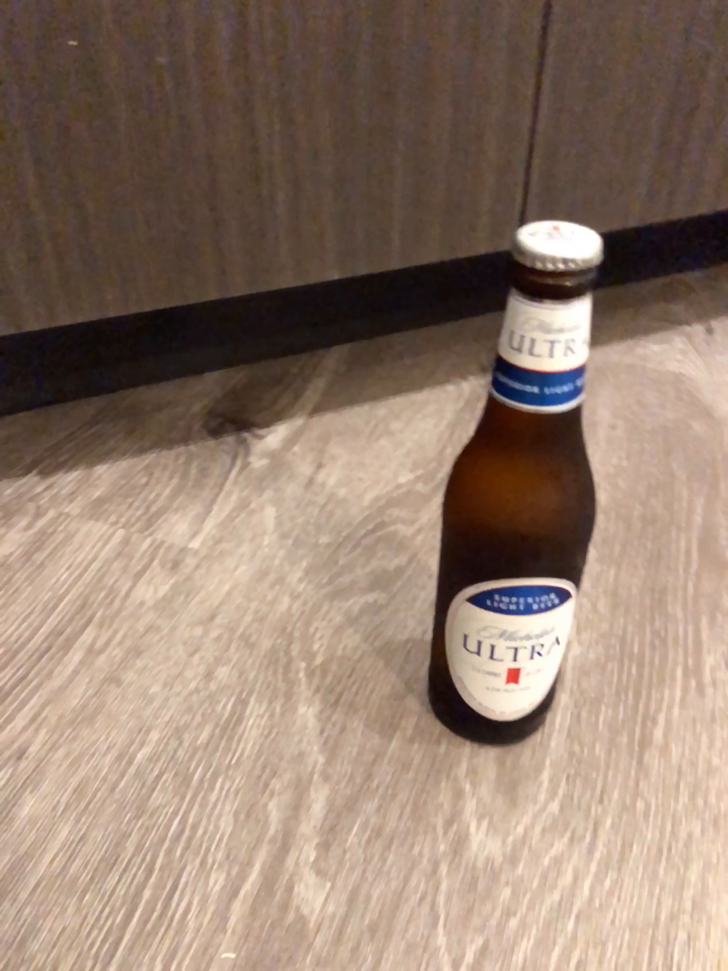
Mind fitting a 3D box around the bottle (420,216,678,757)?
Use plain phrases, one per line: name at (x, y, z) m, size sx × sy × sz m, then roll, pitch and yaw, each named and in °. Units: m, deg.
bottle at (0.057, 0.013, 0.307) m, size 0.060 × 0.209 × 0.060 m, roll 0°, pitch 37°, yaw 0°
